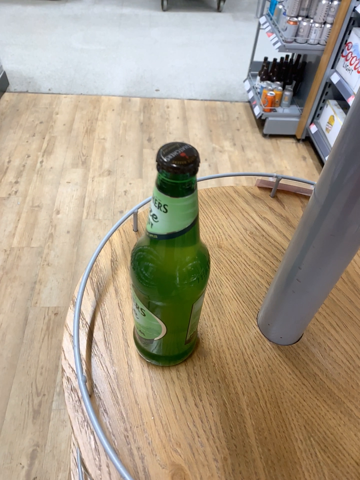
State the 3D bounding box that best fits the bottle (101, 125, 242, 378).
[{"bbox_3d":[-0.010,0.032,0.318,0.078,0.240,0.070,8,48,2],"label":"bottle"}]
